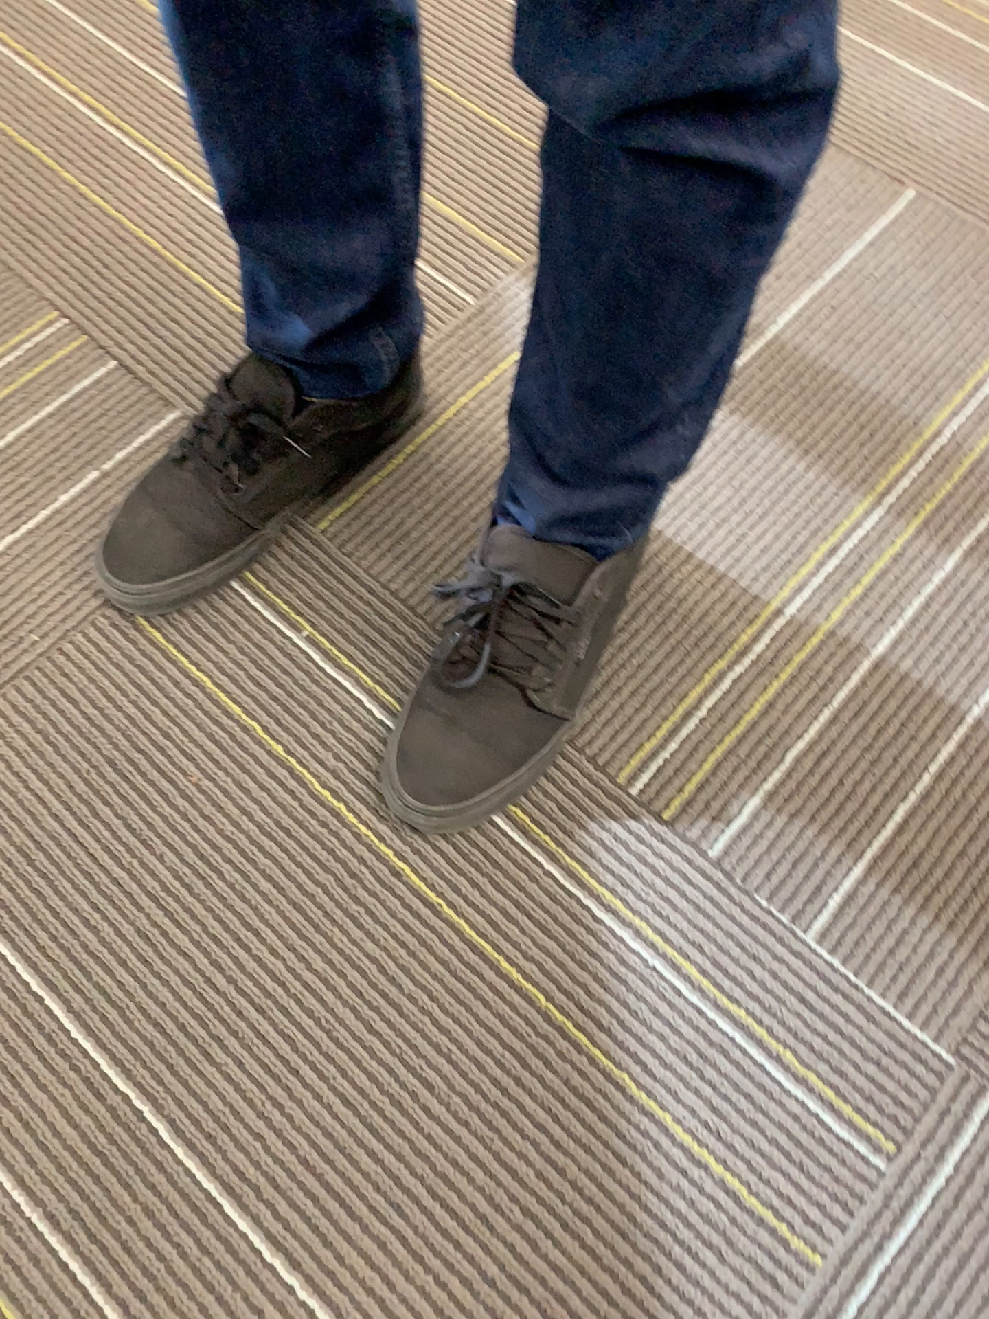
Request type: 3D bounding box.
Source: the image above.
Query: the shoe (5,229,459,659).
[{"bbox_3d":[-0.166,-0.154,0.710,0.109,0.113,0.291,40,70,17],"label":"shoe"}]

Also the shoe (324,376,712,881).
[{"bbox_3d":[0.022,-0.024,0.651,0.109,0.113,0.291,26,67,11],"label":"shoe"}]
